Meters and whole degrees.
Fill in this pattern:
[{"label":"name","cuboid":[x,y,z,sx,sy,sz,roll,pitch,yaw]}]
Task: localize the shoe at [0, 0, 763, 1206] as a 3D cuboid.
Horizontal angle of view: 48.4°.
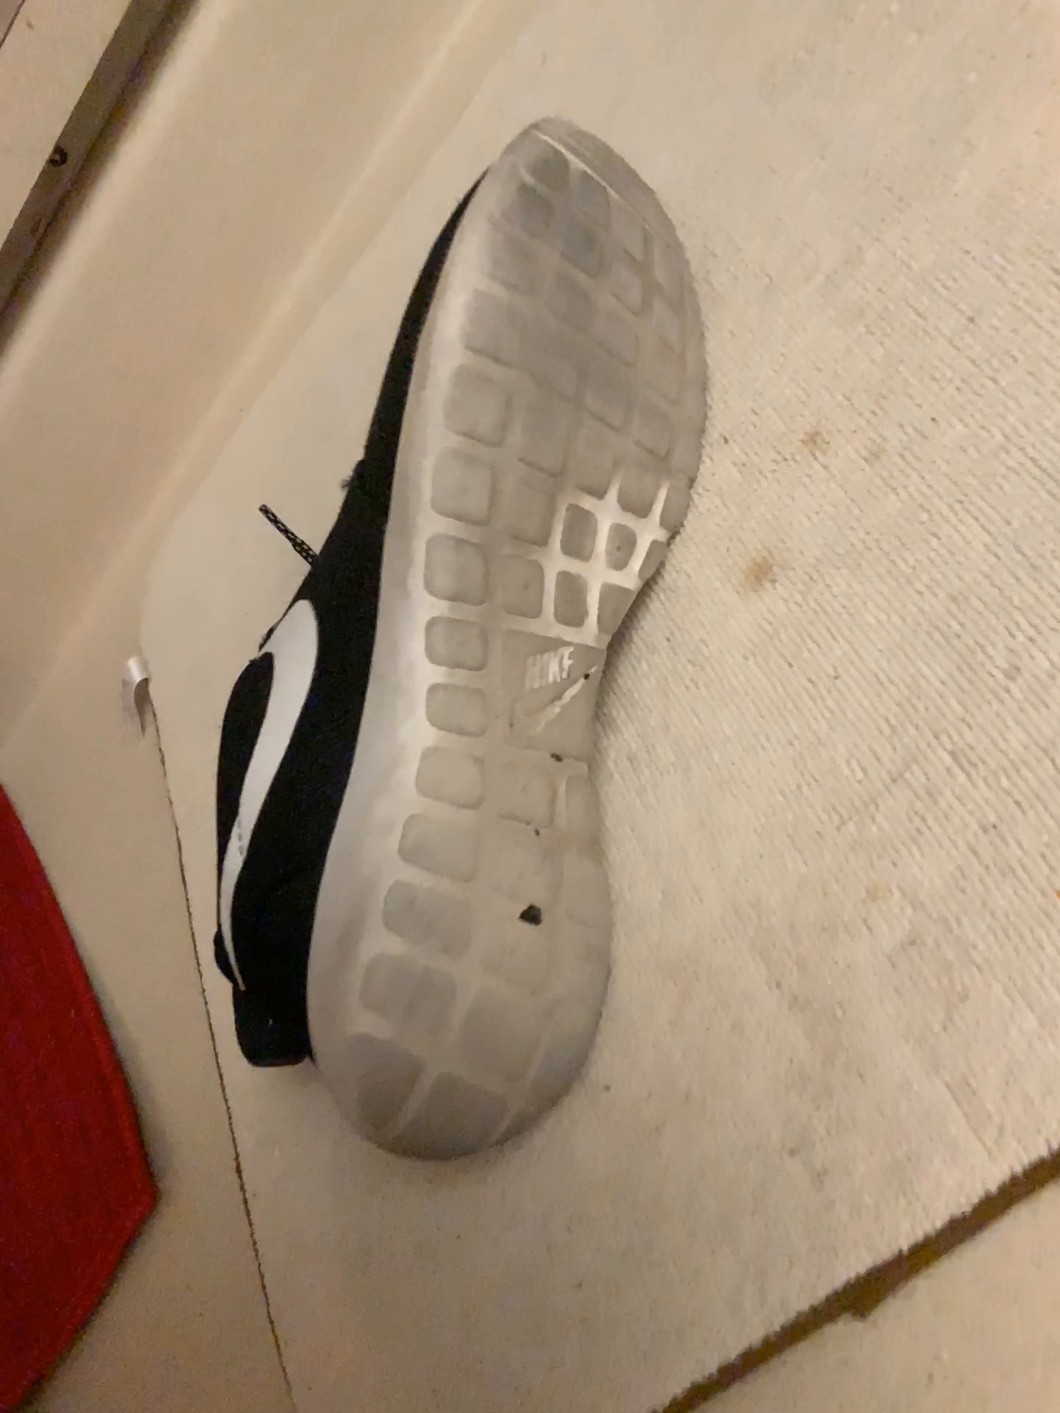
[{"label":"shoe","cuboid":[-0.056,-0.023,0.341,0.180,0.100,0.270,-1,73,46]}]
